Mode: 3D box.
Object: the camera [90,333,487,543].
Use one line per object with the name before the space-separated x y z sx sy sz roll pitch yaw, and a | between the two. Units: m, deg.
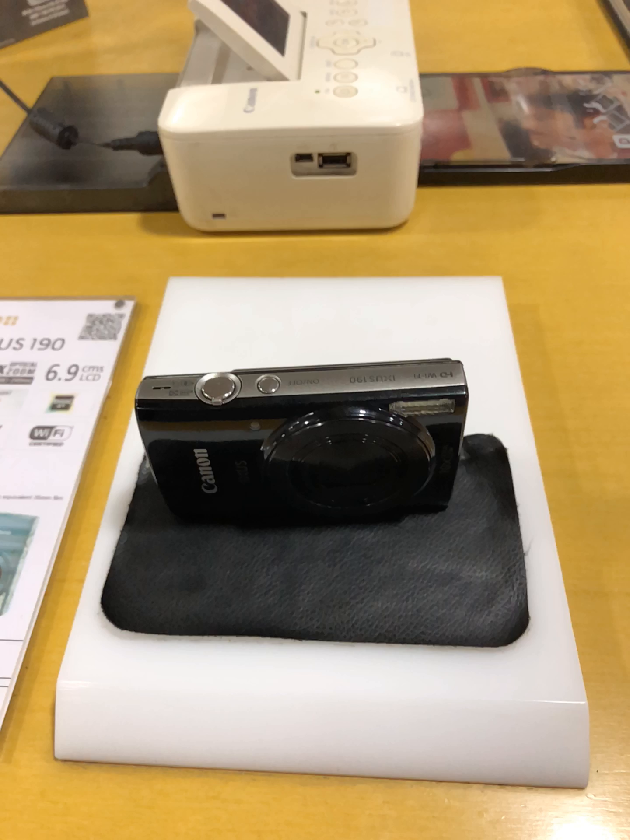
camera | -0.007 0.007 0.206 0.100 0.050 0.030 -4 50 -1
